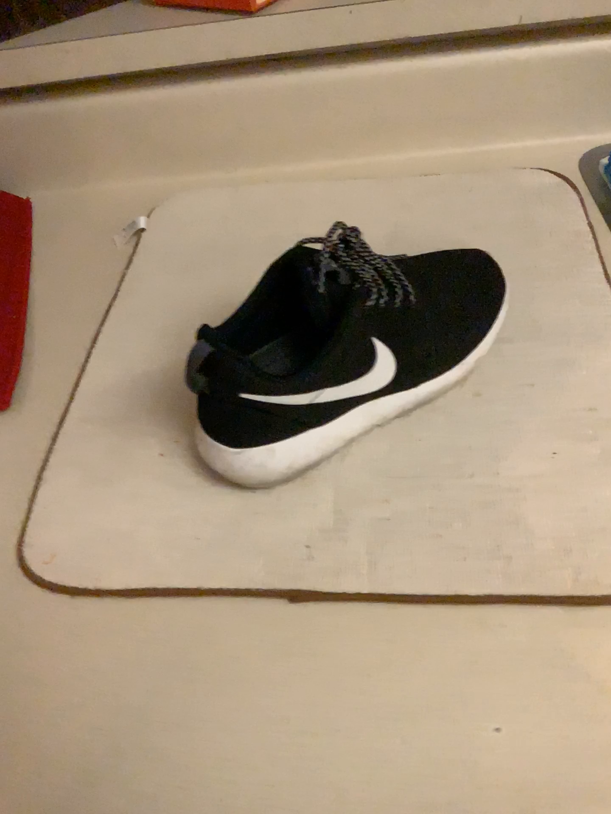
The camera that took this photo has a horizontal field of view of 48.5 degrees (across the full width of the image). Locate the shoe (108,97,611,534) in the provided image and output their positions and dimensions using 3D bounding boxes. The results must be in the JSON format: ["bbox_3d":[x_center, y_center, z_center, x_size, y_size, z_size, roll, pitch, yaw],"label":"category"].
[{"bbox_3d":[0.044,-0.072,0.440,0.280,0.120,0.130,-33,53,-19],"label":"shoe"}]
